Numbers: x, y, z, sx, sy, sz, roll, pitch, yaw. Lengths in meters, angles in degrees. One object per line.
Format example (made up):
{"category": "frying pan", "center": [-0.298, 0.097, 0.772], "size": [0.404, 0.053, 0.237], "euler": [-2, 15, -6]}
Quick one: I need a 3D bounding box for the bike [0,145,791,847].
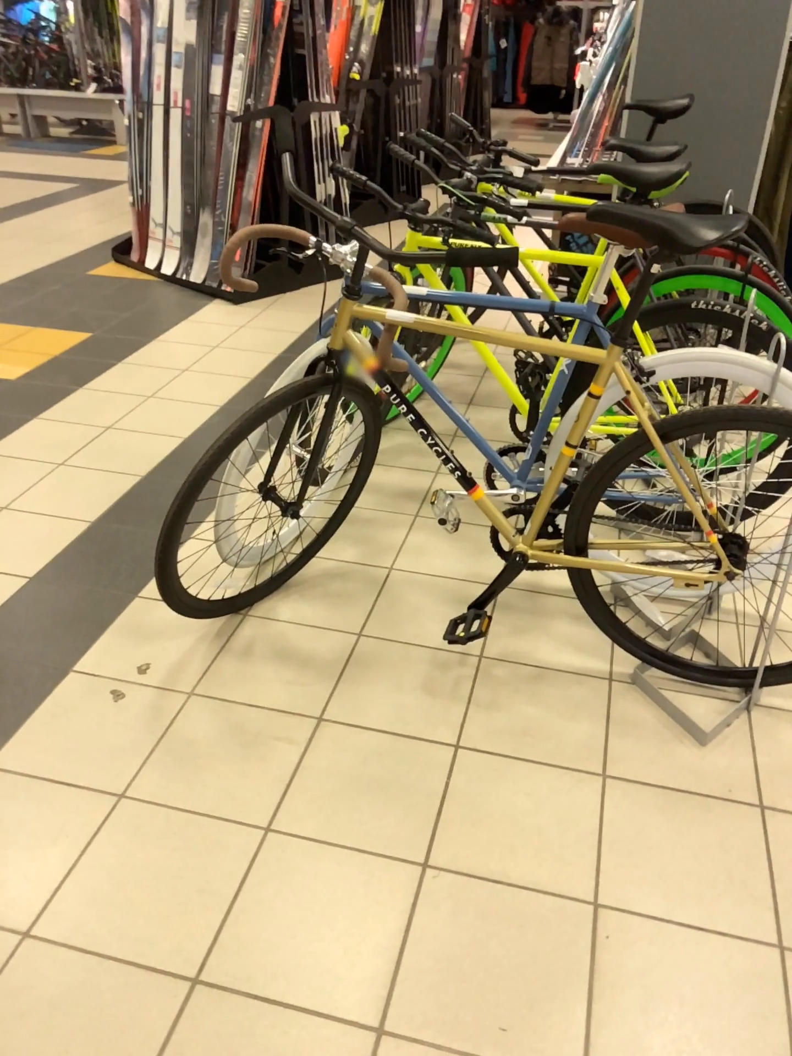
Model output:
{"category": "bike", "center": [0.209, -0.037, 1.709], "size": [1.462, 1.092, 0.676], "euler": [-1, 29, 7]}
